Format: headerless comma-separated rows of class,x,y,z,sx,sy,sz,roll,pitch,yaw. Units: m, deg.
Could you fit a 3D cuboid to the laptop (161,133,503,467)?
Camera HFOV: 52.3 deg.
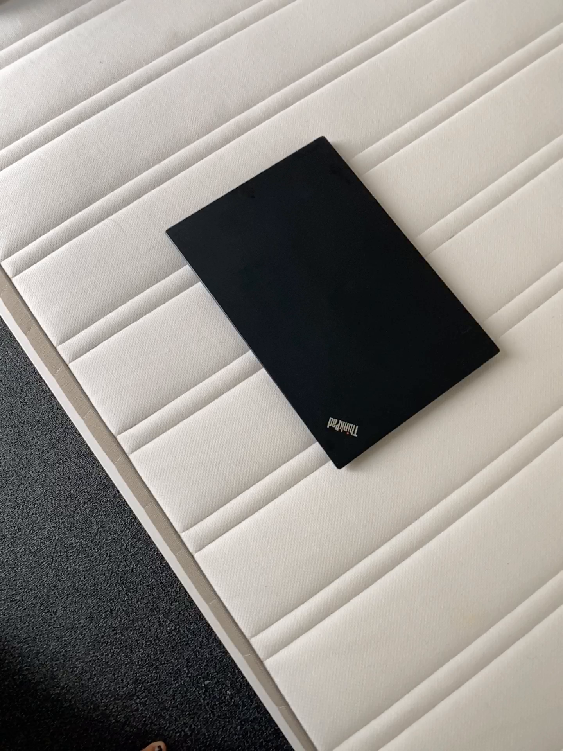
laptop,0.054,-0.097,0.635,0.225,0.012,0.325,-34,80,-13
